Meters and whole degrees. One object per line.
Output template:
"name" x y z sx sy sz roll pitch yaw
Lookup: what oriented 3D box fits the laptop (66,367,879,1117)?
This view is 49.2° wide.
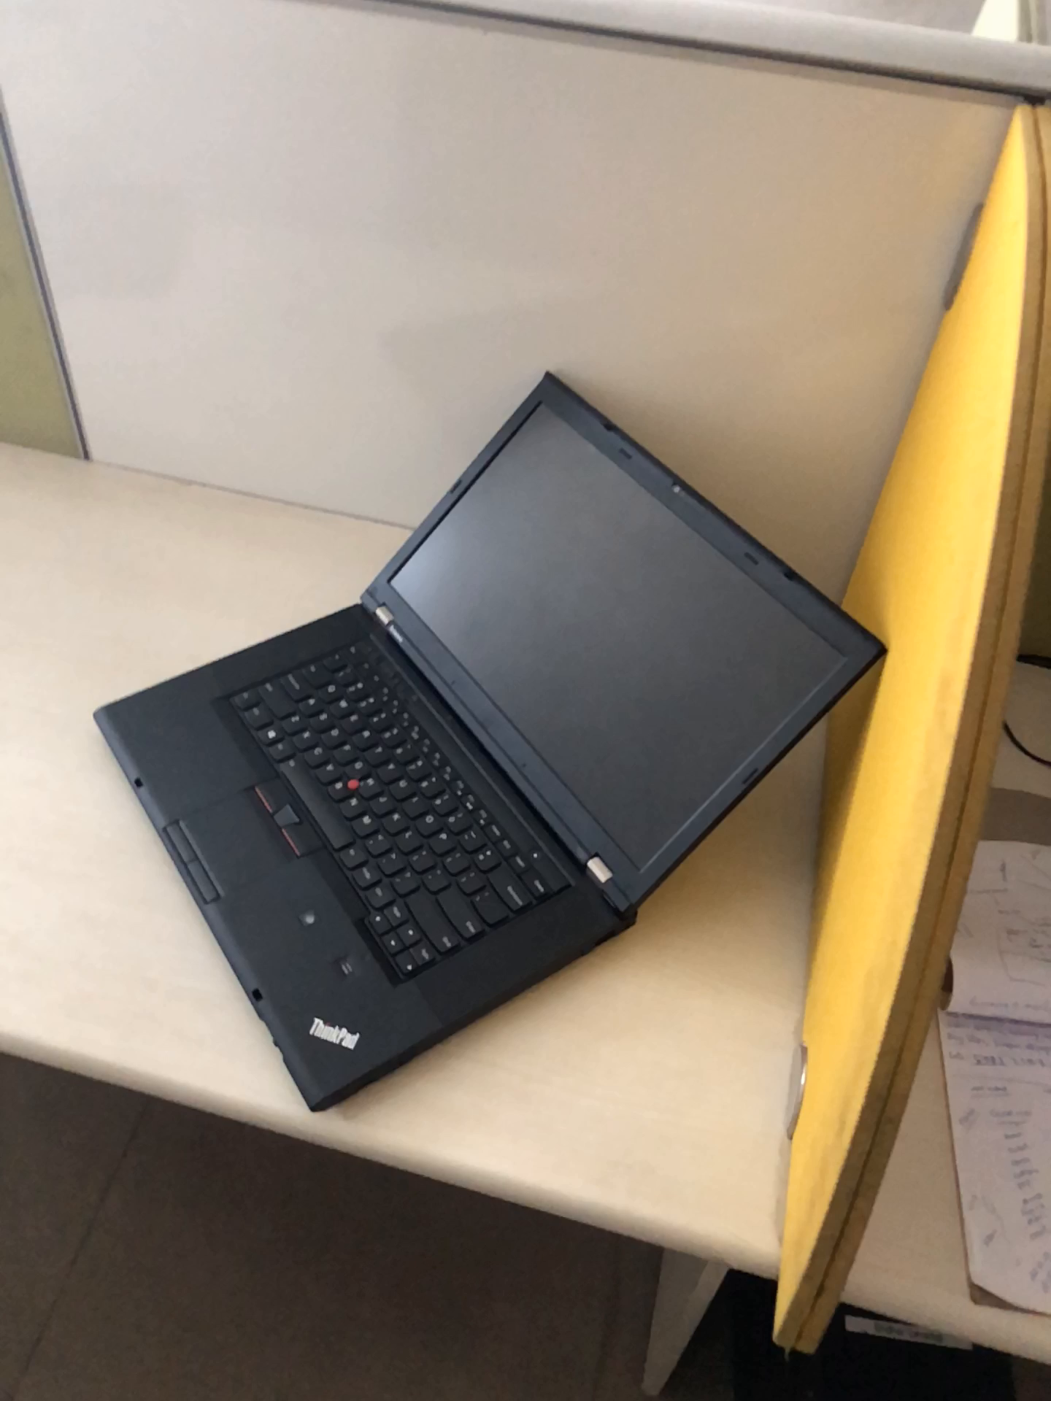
"laptop" -0.043 -0.011 0.799 0.418 0.143 0.354 -27 56 -23
